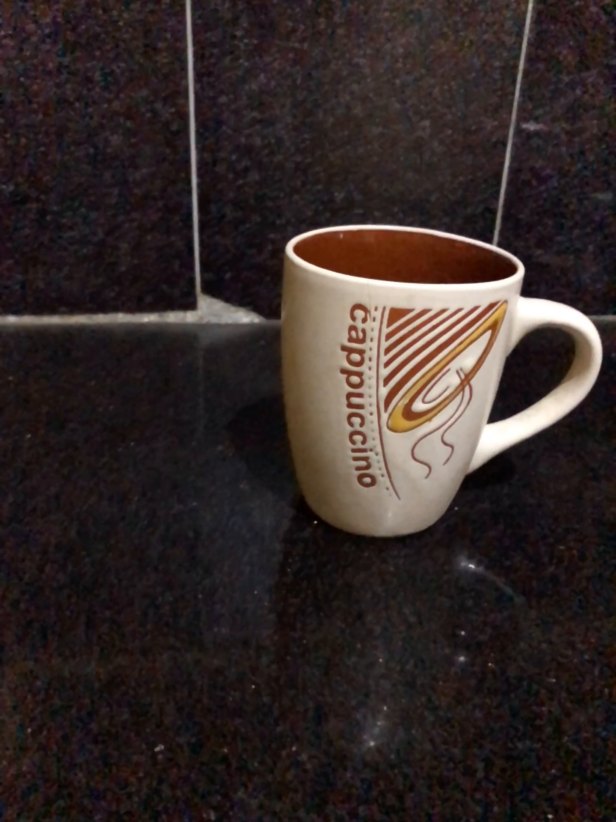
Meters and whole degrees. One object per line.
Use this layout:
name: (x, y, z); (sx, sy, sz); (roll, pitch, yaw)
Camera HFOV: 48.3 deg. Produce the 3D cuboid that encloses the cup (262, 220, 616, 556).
cup: (0.048, -0.015, 0.256); (0.120, 0.089, 0.090); (-2, 27, -10)
